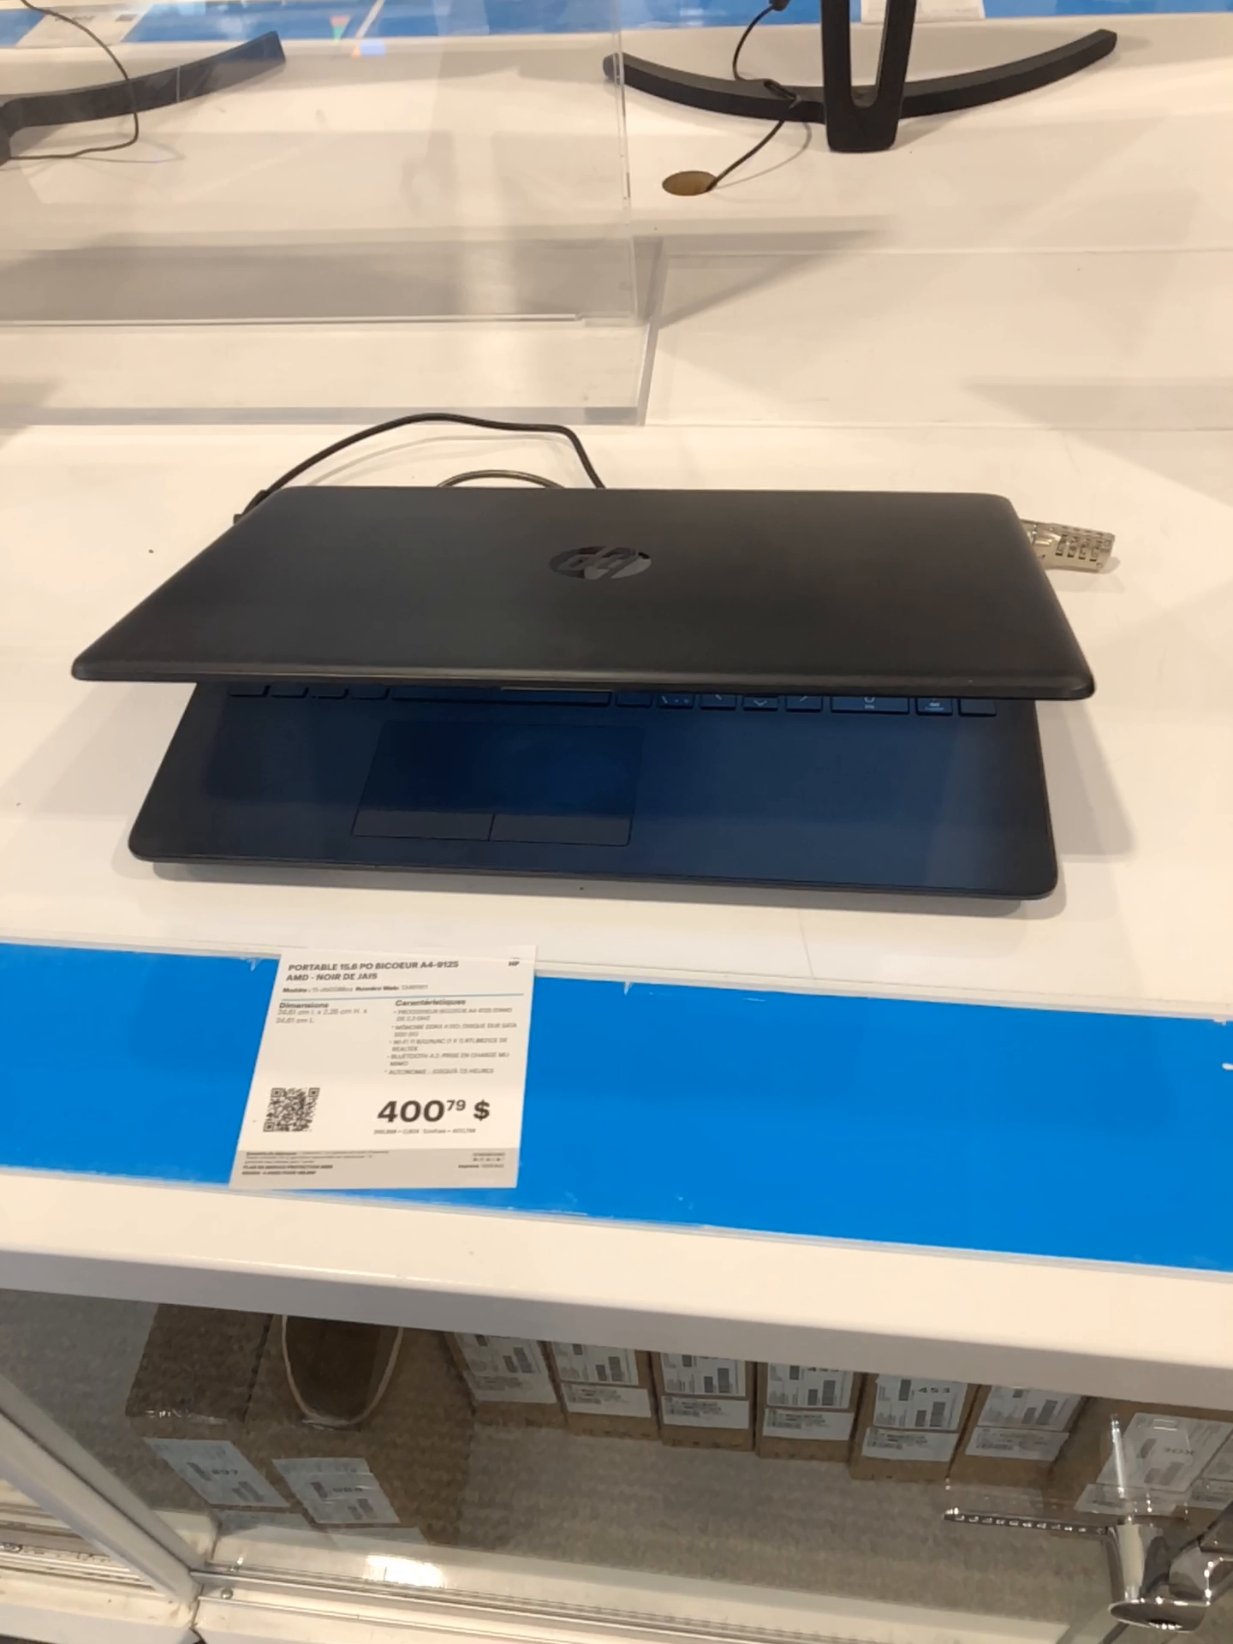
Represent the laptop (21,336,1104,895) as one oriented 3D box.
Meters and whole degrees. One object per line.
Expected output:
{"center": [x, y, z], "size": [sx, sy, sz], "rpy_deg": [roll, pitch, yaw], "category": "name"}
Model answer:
{"center": [-0.006, -0.097, 0.568], "size": [0.365, 0.091, 0.235], "rpy_deg": [3, 49, 3], "category": "laptop"}
